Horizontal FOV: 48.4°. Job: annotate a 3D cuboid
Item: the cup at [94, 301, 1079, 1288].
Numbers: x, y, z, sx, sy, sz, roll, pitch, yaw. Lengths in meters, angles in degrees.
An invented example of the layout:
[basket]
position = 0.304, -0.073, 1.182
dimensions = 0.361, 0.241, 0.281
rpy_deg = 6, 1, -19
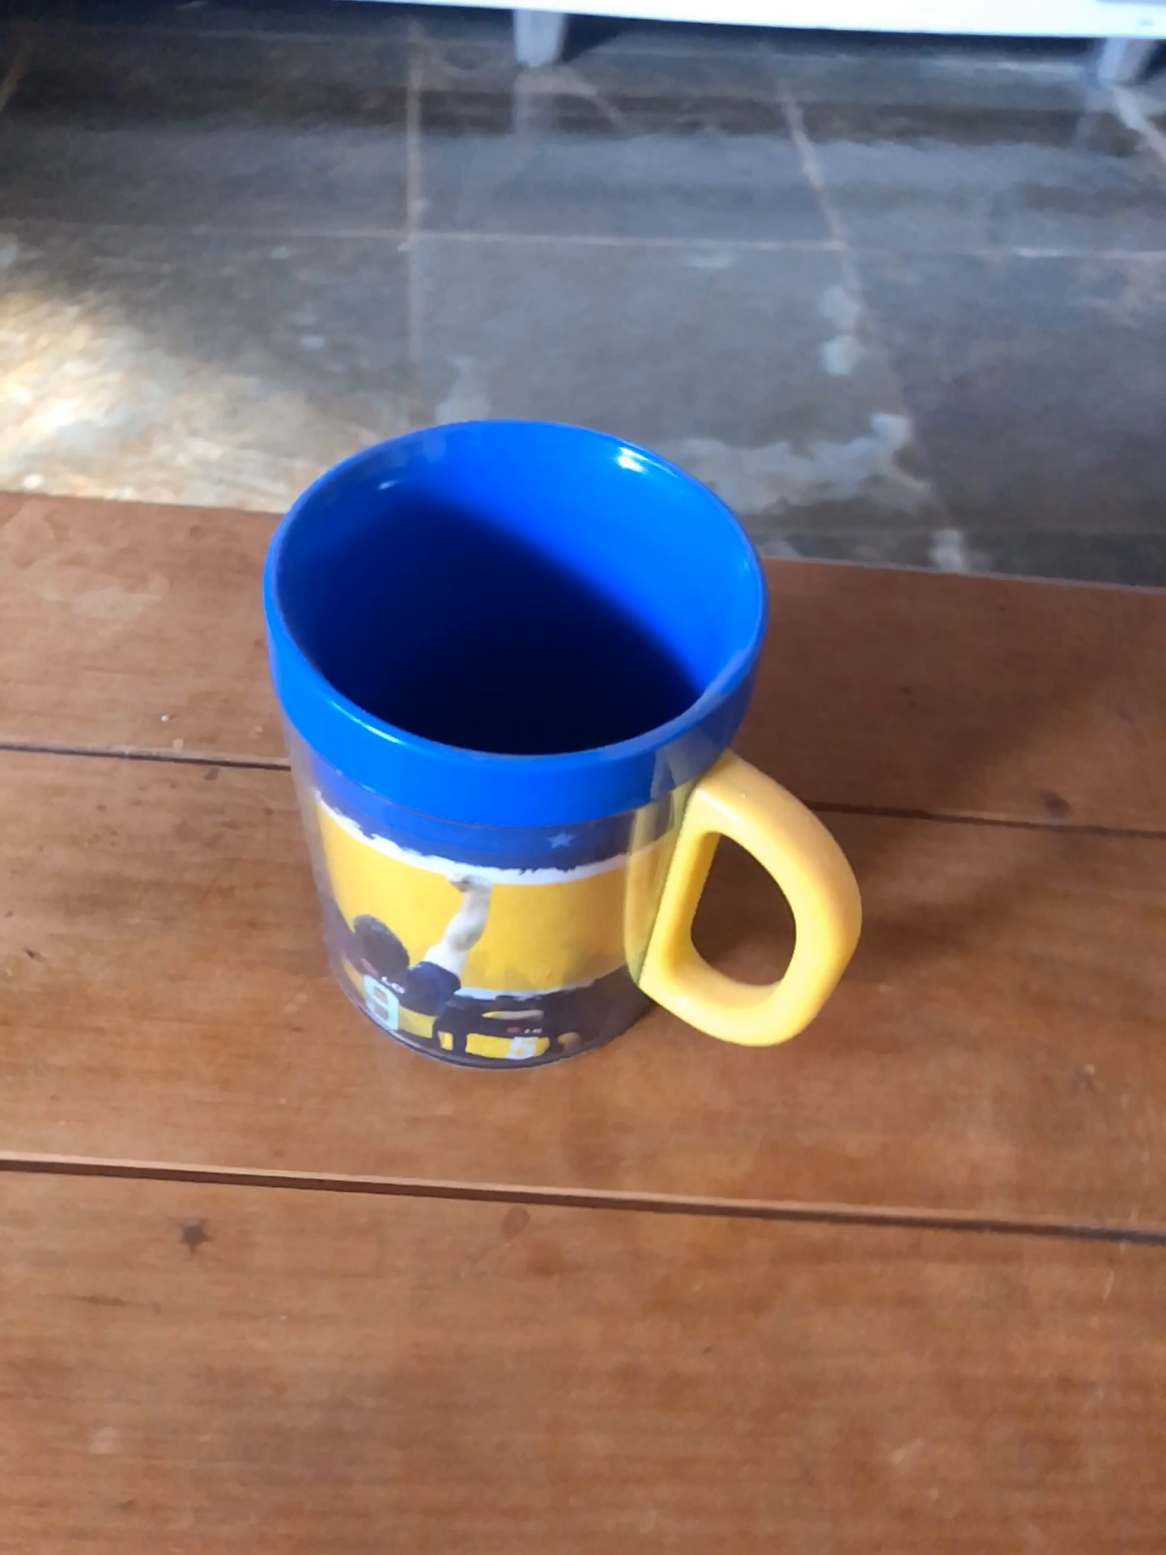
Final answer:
[cup]
position = -0.001, 0.003, 0.240
dimensions = 0.120, 0.109, 0.090
rpy_deg = 32, 56, 19
